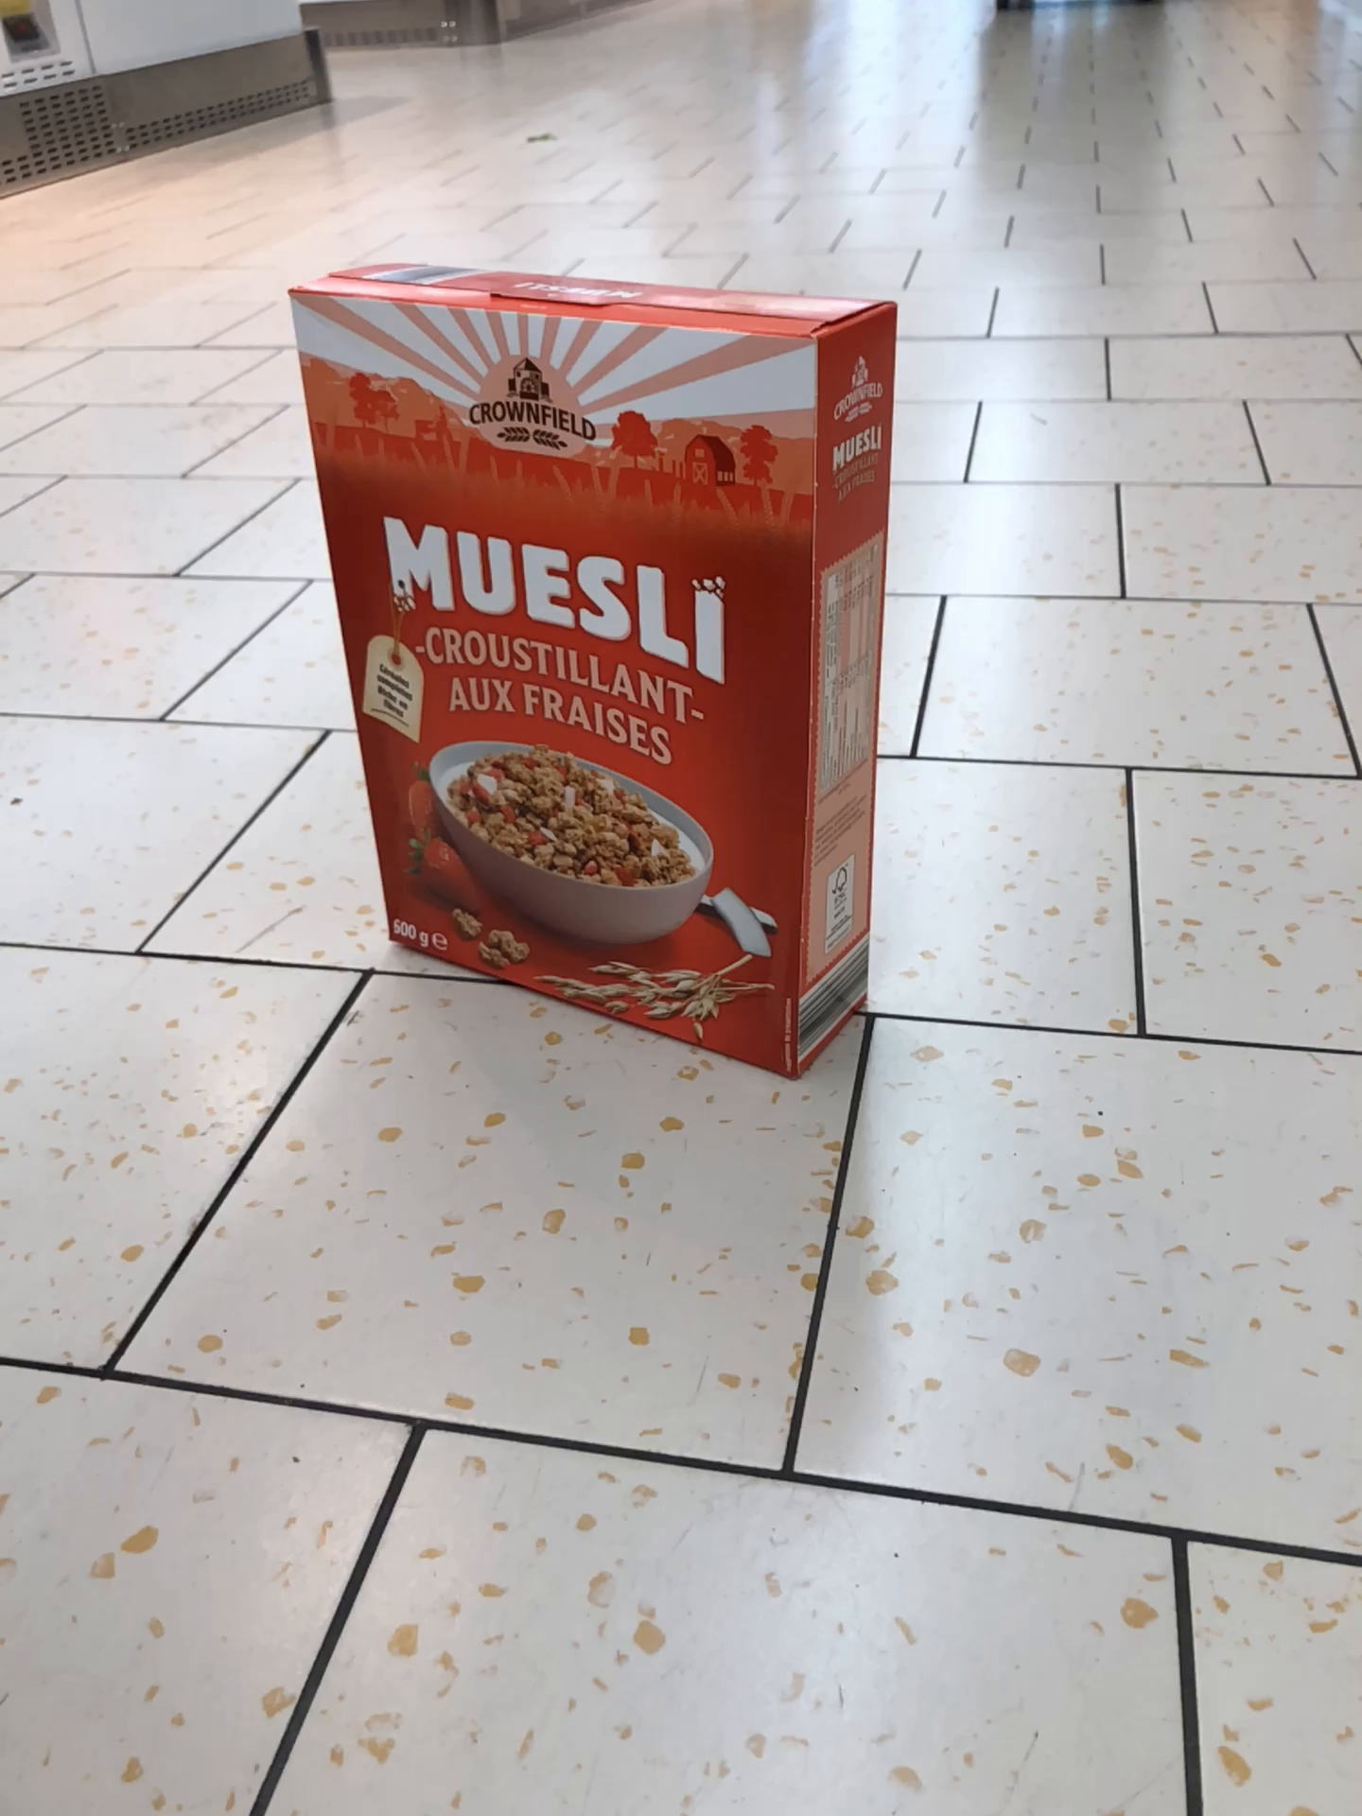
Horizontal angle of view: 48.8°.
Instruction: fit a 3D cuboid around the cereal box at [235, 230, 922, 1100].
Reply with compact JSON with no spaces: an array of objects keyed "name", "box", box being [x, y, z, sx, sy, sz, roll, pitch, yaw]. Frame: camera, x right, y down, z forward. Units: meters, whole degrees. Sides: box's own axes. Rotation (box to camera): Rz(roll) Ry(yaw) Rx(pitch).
[{"name":"cereal box","box":[-0.030,-0.084,0.507,0.200,0.249,0.070,17,37,29]}]
